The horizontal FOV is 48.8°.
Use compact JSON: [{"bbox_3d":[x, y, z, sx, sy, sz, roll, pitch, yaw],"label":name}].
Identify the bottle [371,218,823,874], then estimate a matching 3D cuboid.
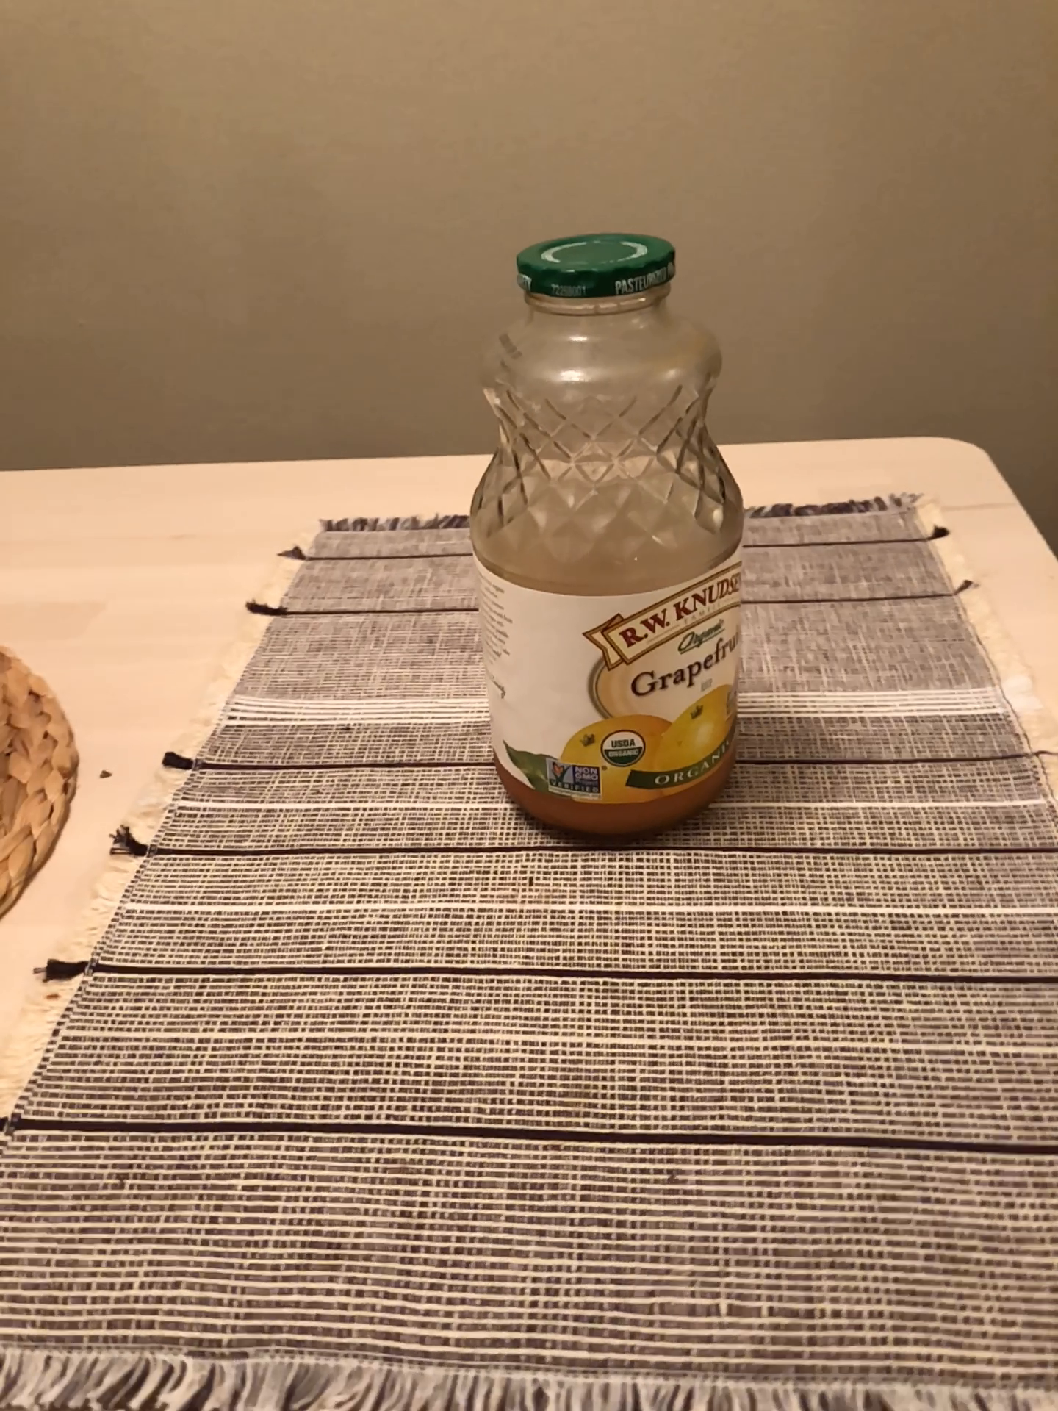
[{"bbox_3d":[0.027,-0.060,0.415,0.100,0.189,0.100,-4,32,2],"label":"bottle"}]
